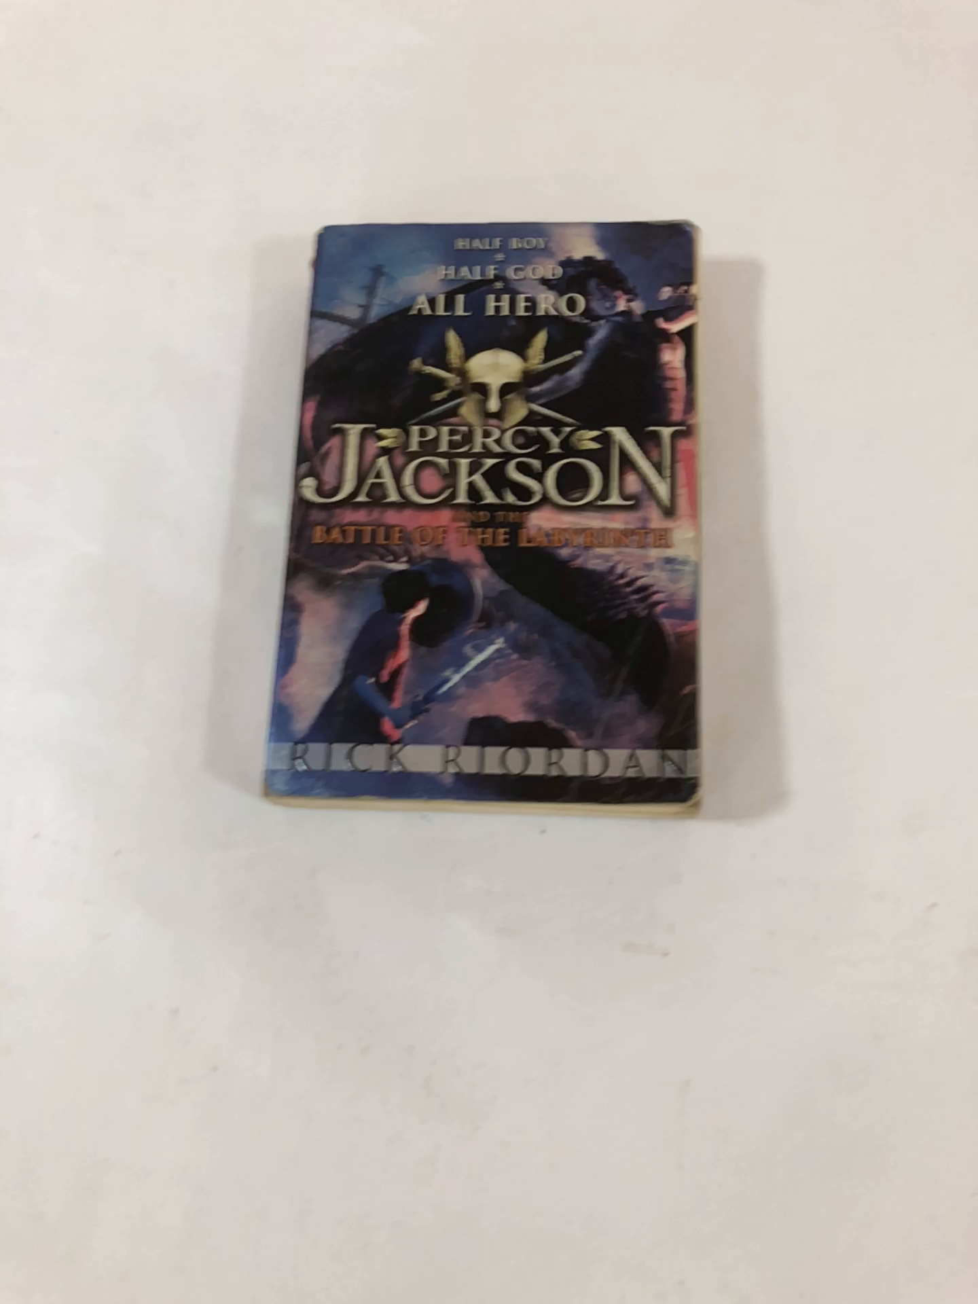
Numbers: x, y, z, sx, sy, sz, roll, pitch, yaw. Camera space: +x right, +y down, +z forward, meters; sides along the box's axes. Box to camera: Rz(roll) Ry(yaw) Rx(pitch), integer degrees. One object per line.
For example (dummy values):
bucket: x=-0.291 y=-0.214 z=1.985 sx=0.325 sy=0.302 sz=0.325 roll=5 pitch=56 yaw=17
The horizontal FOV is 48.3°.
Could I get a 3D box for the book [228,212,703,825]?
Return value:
book: x=-0.003 y=-0.045 z=0.344 sx=0.130 sy=0.040 sz=0.190 roll=1 pitch=73 yaw=3
